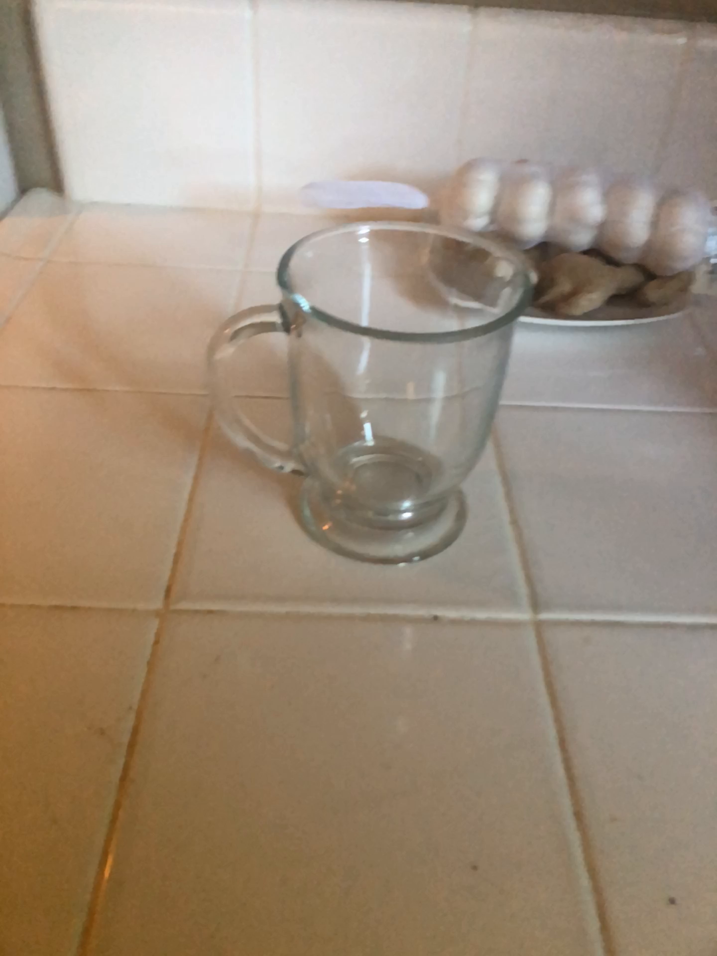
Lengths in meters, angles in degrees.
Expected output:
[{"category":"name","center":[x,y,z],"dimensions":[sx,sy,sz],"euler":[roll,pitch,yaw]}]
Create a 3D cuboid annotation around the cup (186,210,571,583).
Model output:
[{"category":"cup","center":[0.000,-0.037,0.340],"dimensions":[0.130,0.119,0.101],"euler":[-2,41,-7]}]
